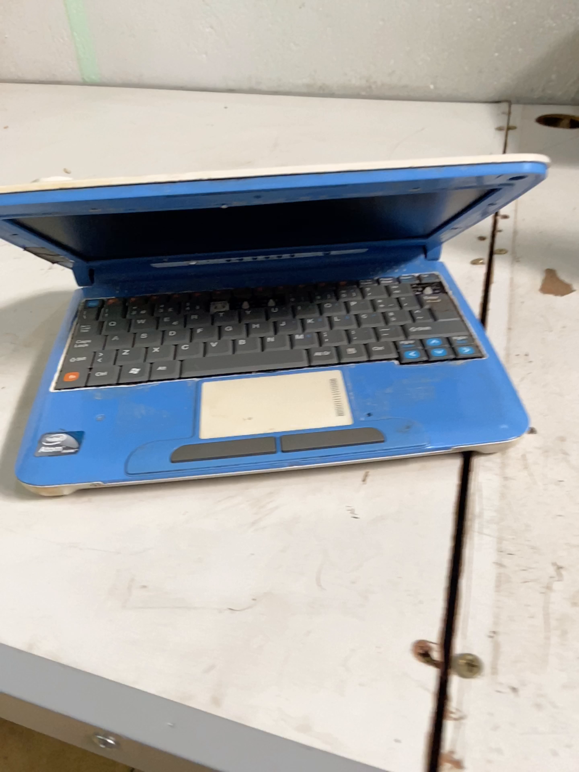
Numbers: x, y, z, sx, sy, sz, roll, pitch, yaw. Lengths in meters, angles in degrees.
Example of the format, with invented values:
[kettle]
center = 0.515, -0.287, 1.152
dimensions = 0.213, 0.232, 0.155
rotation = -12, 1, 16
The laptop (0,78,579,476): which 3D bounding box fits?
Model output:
[laptop]
center = -0.017, -0.069, 0.316
dimensions = 0.247, 0.116, 0.183
rotation = -5, 39, -1
